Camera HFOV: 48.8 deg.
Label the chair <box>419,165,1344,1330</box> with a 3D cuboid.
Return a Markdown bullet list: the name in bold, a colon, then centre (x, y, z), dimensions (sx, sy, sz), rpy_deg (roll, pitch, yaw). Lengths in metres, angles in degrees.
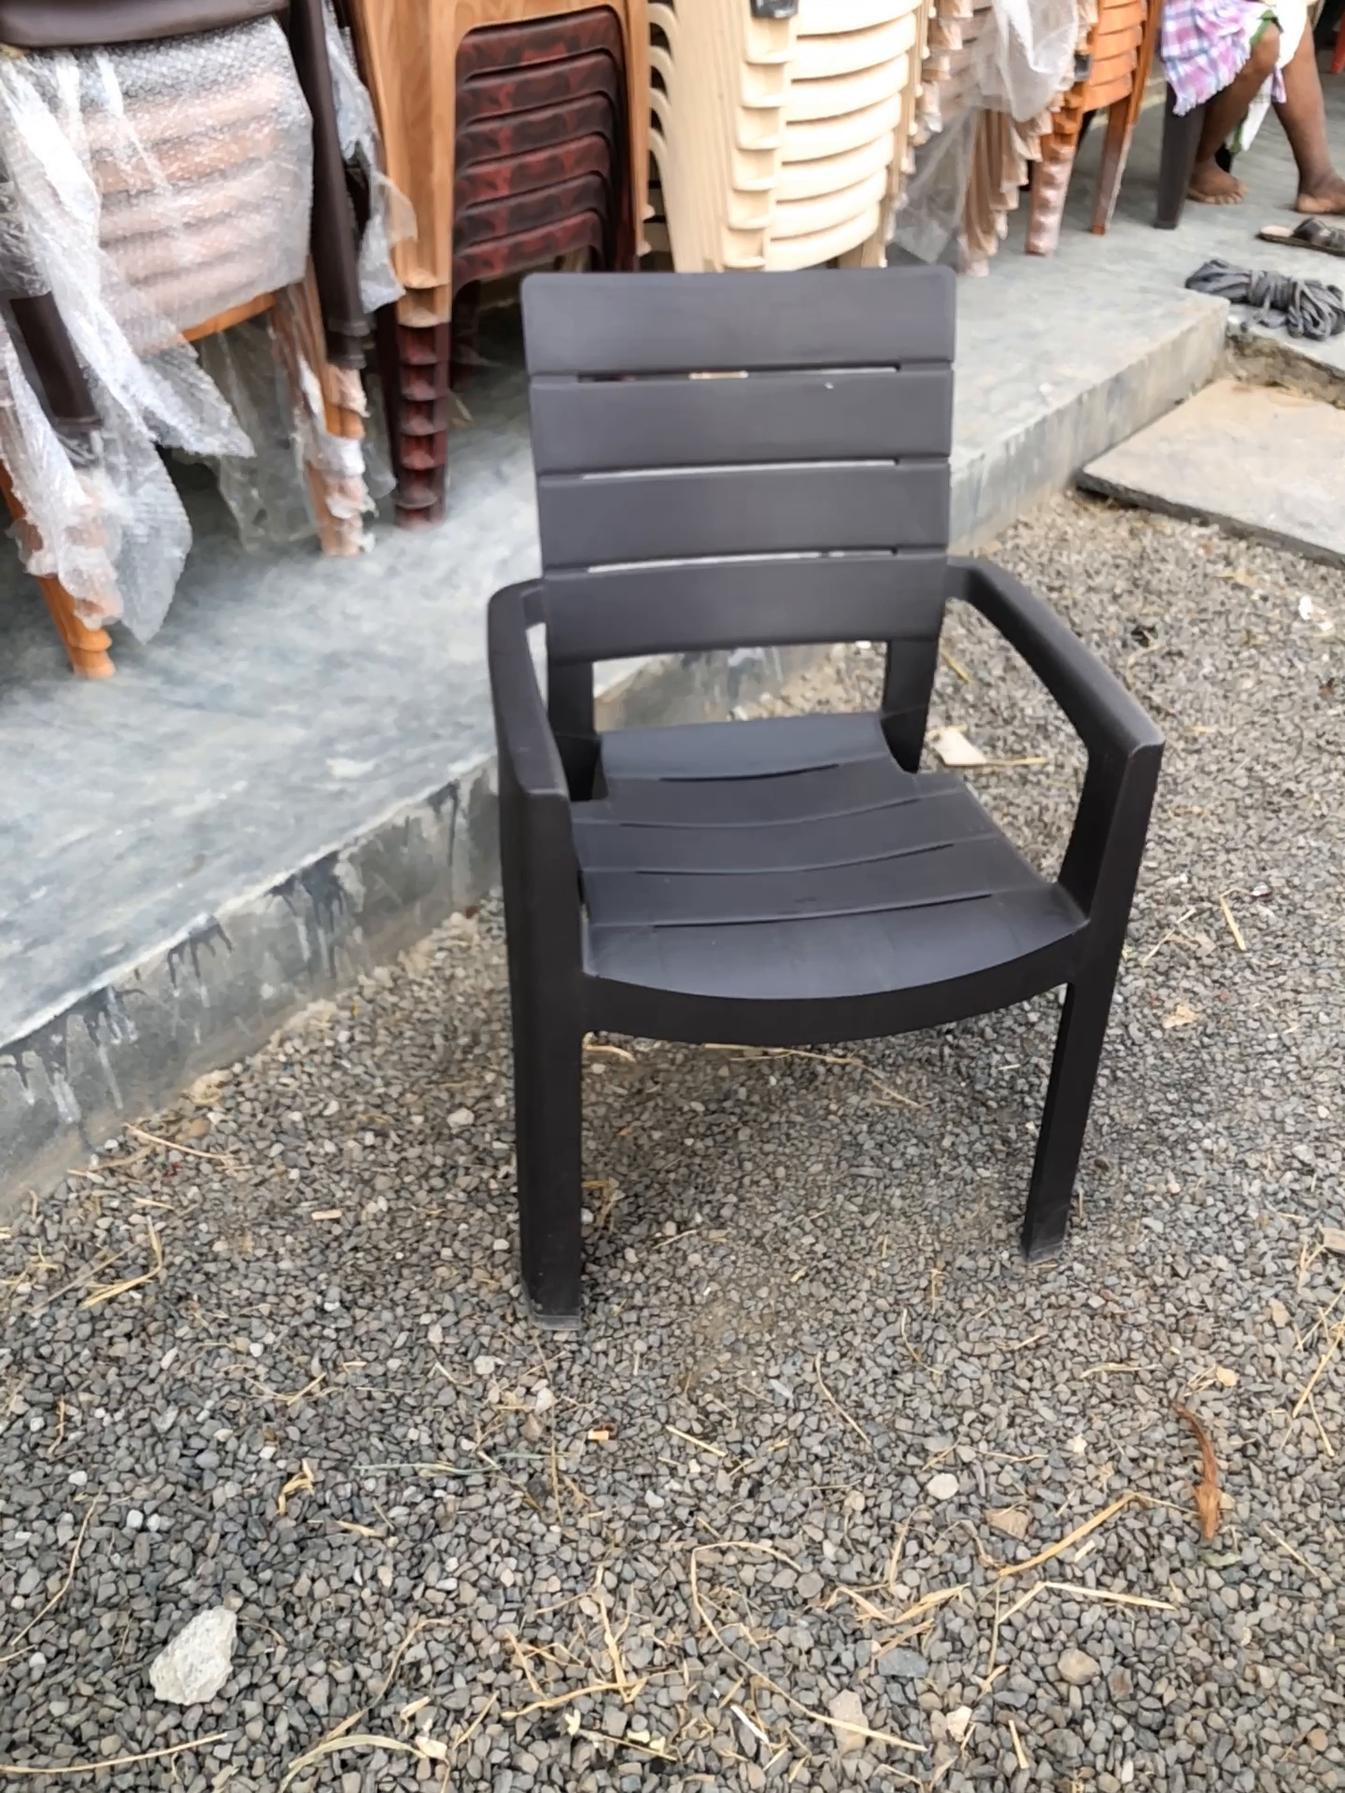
- **chair**: centre (0.104, -0.162, 1.388), dimensions (0.571, 0.796, 0.683), rpy_deg (-6, 40, -9)
